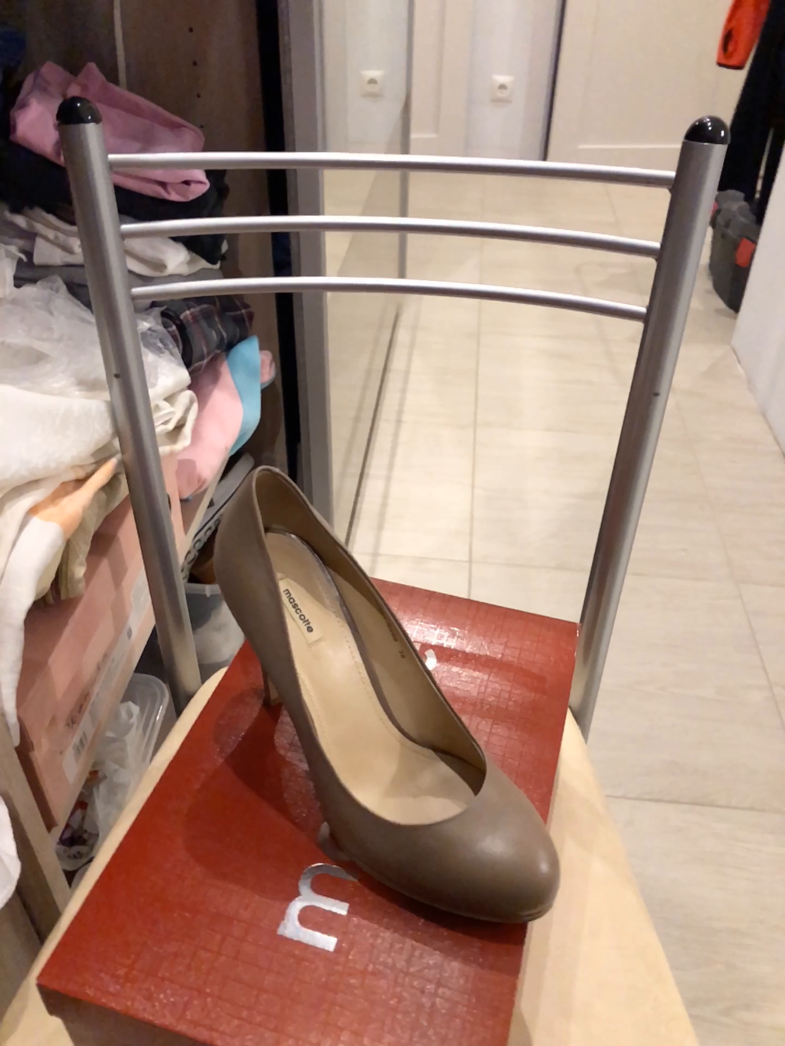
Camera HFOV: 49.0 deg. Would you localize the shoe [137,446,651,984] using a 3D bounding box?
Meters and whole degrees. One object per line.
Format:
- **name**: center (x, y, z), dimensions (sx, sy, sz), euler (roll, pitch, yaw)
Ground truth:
- **shoe**: center (-0.009, 0.080, 0.409), dimensions (0.215, 0.145, 0.084), euler (28, 45, 30)
